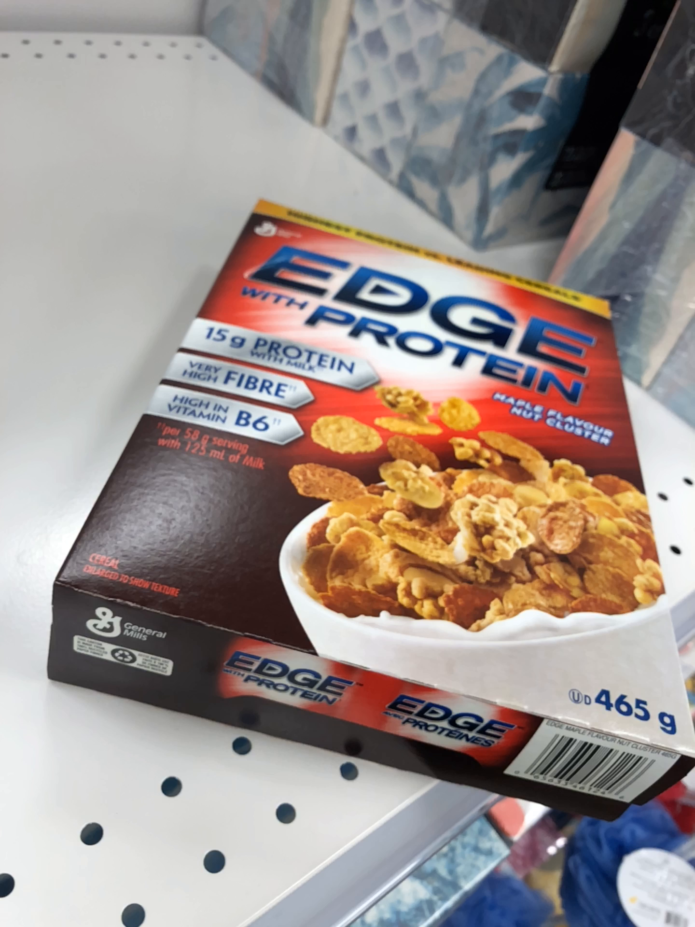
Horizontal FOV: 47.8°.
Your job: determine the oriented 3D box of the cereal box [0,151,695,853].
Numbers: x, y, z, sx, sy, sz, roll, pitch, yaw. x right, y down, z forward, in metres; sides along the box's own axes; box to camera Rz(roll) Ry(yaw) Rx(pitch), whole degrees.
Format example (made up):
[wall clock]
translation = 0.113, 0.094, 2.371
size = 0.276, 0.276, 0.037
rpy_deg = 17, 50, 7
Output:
[cereal box]
translation = 0.022, -0.018, 0.314
size = 0.220, 0.050, 0.271
rpy_deg = 16, 42, -4
